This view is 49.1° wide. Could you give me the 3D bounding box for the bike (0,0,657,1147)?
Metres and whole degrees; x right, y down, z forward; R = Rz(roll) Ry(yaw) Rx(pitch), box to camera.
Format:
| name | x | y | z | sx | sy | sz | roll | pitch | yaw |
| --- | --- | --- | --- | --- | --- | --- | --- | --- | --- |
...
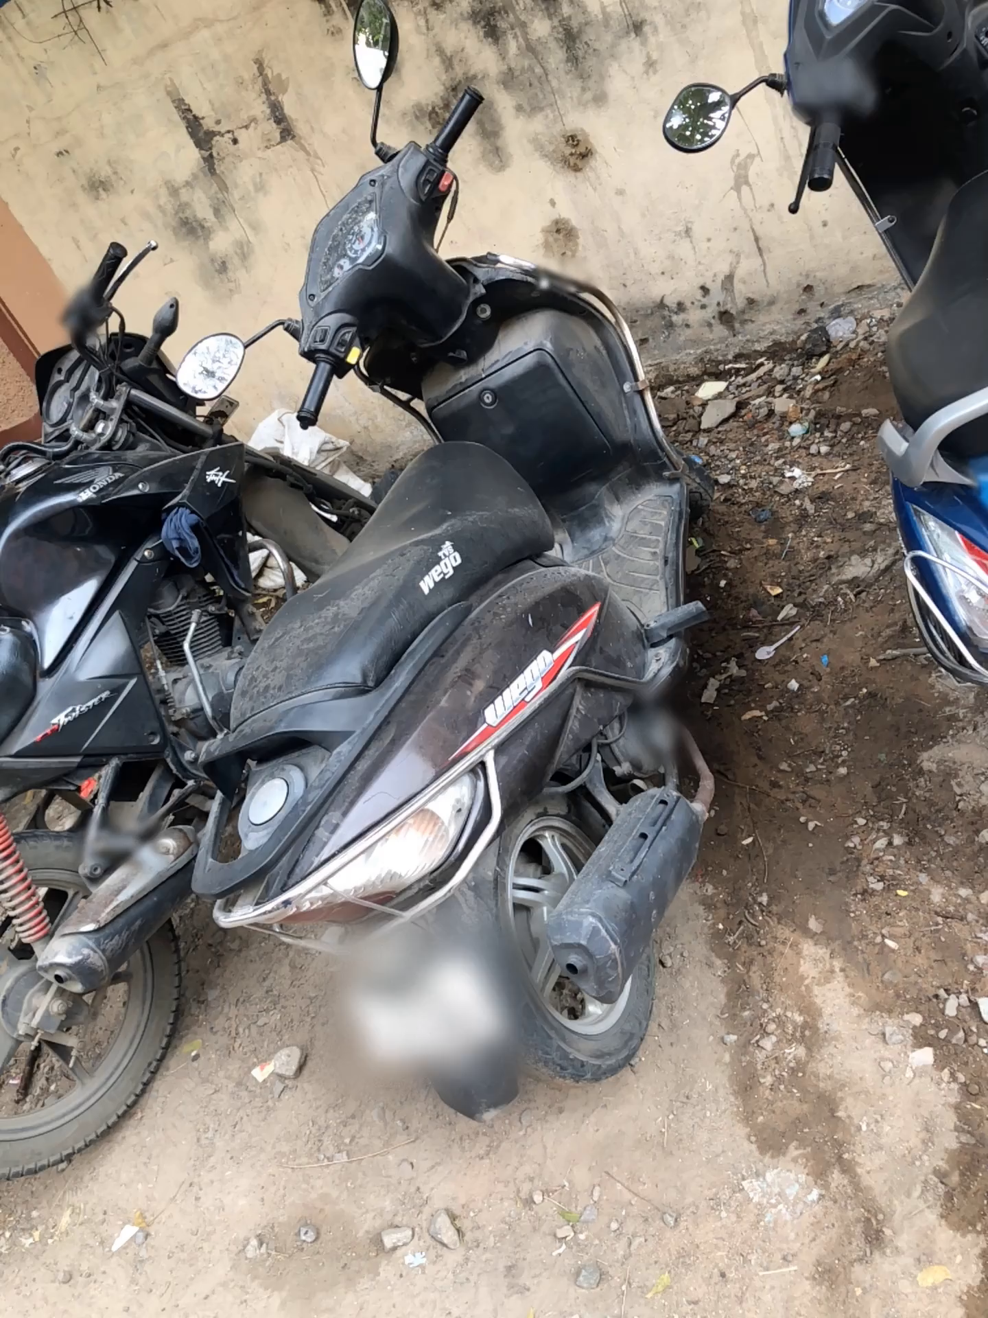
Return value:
| name | x | y | z | sx | sy | sz | roll | pitch | yaw |
| --- | --- | --- | --- | --- | --- | --- | --- | --- | --- |
| bike | -0.213 | -0.286 | 1.826 | 0.528 | 1.114 | 1.567 | -17 | 36 | 20 |
